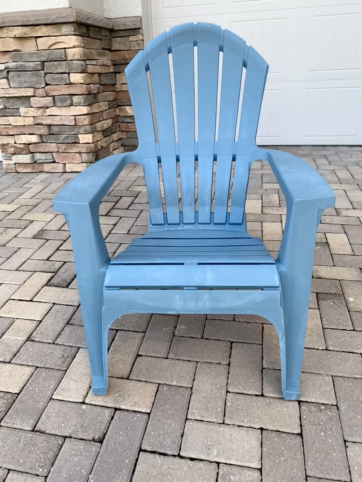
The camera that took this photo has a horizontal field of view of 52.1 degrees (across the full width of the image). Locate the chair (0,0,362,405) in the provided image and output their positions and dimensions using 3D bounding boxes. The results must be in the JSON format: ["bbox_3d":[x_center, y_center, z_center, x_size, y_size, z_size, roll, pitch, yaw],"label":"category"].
[{"bbox_3d":[0.045,-0.184,1.173,0.681,0.986,0.800,0,24,5],"label":"chair"}]
